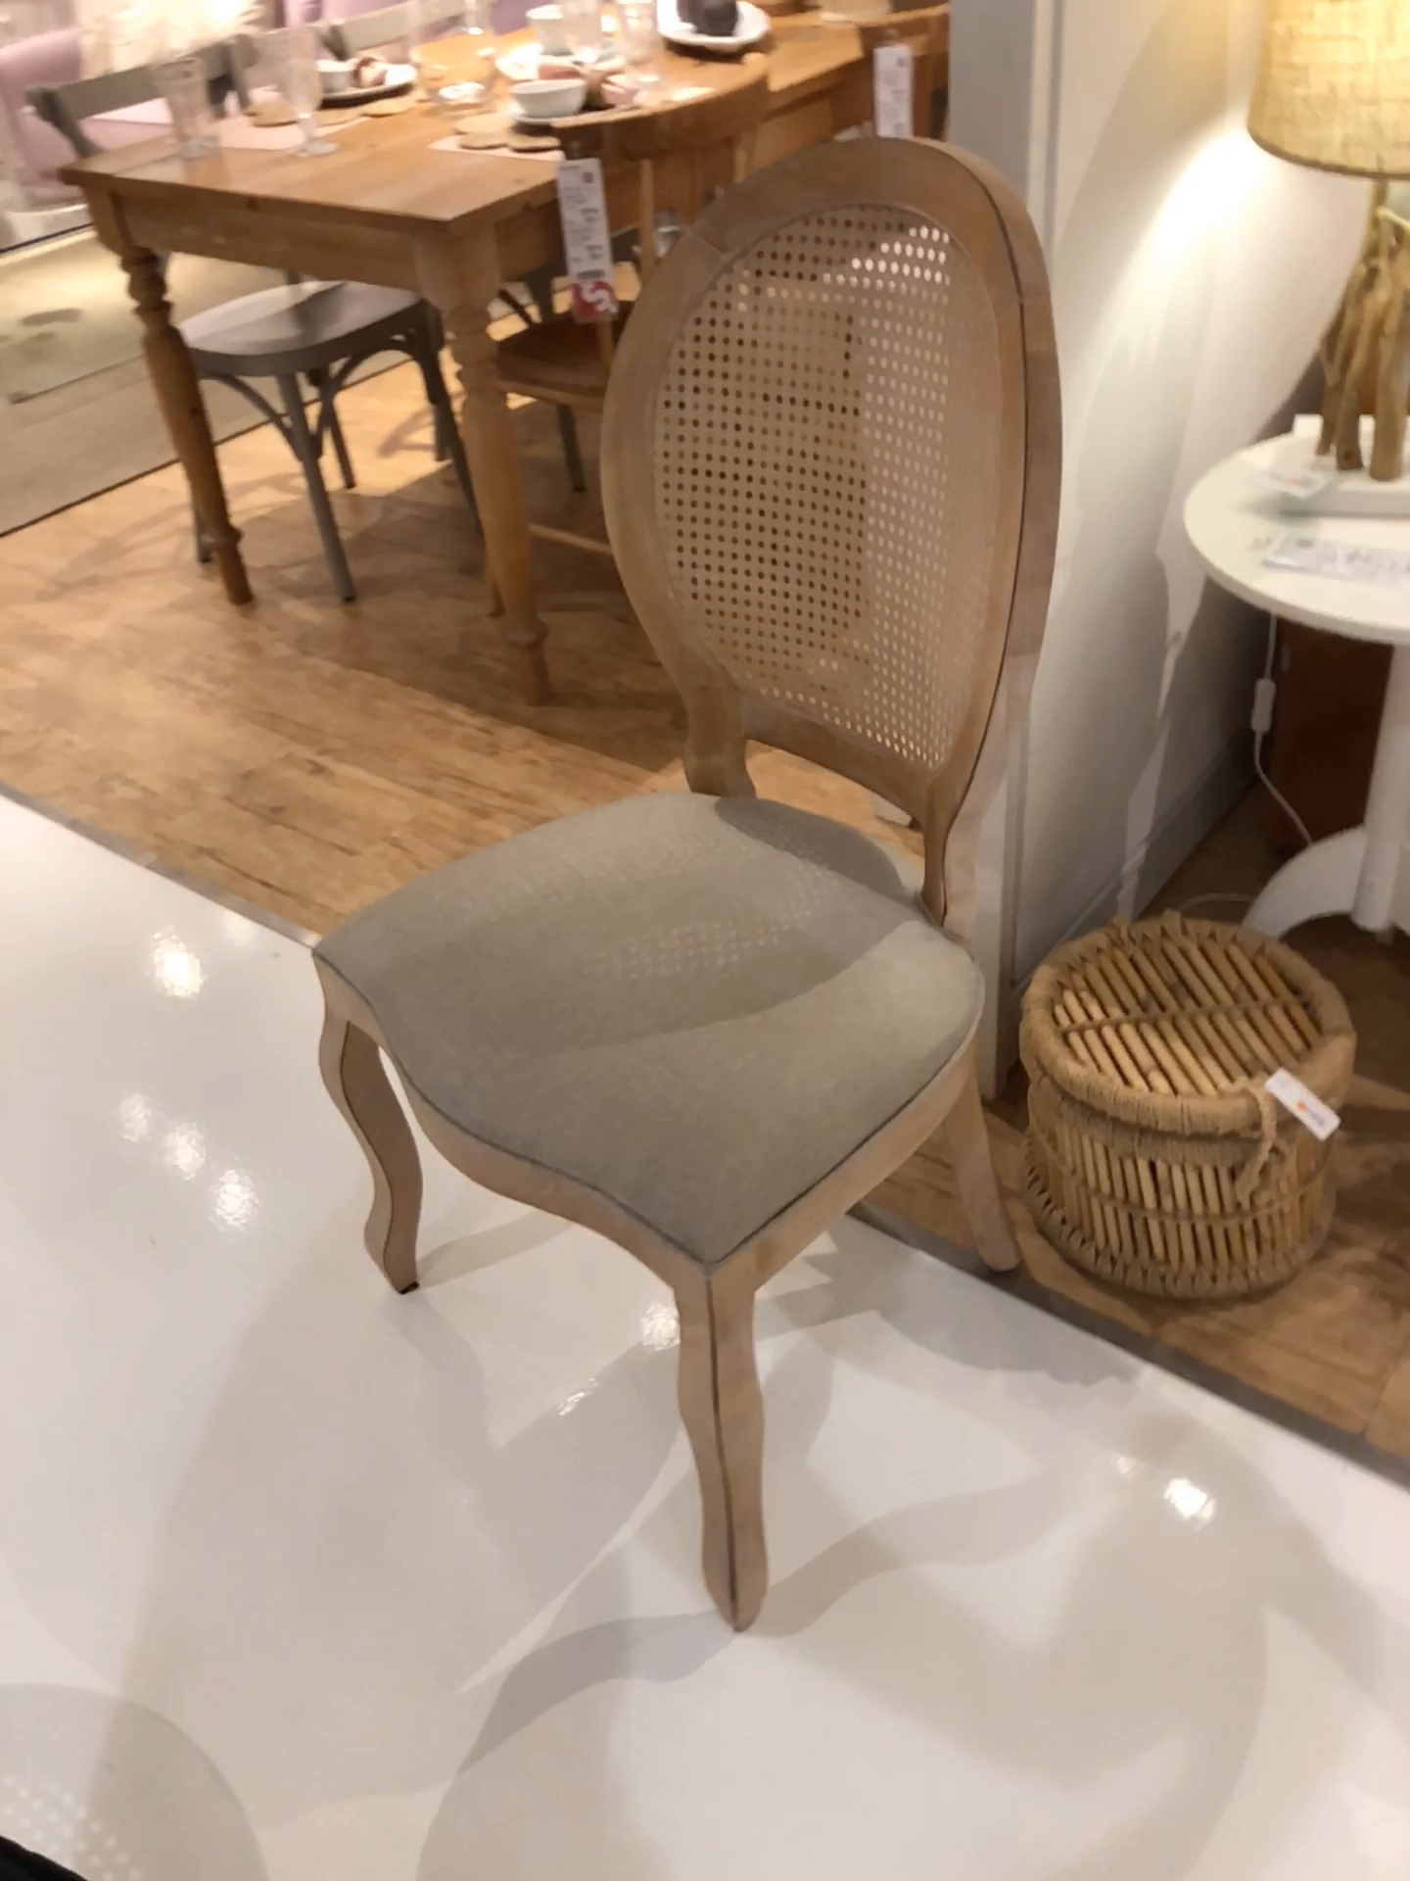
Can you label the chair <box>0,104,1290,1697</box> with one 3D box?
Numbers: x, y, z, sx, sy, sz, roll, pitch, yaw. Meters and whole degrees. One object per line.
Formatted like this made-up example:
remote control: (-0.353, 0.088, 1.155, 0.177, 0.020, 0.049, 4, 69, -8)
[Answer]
chair: (-0.020, -0.040, 1.213, 0.522, 0.962, 0.593, -33, 45, -29)
